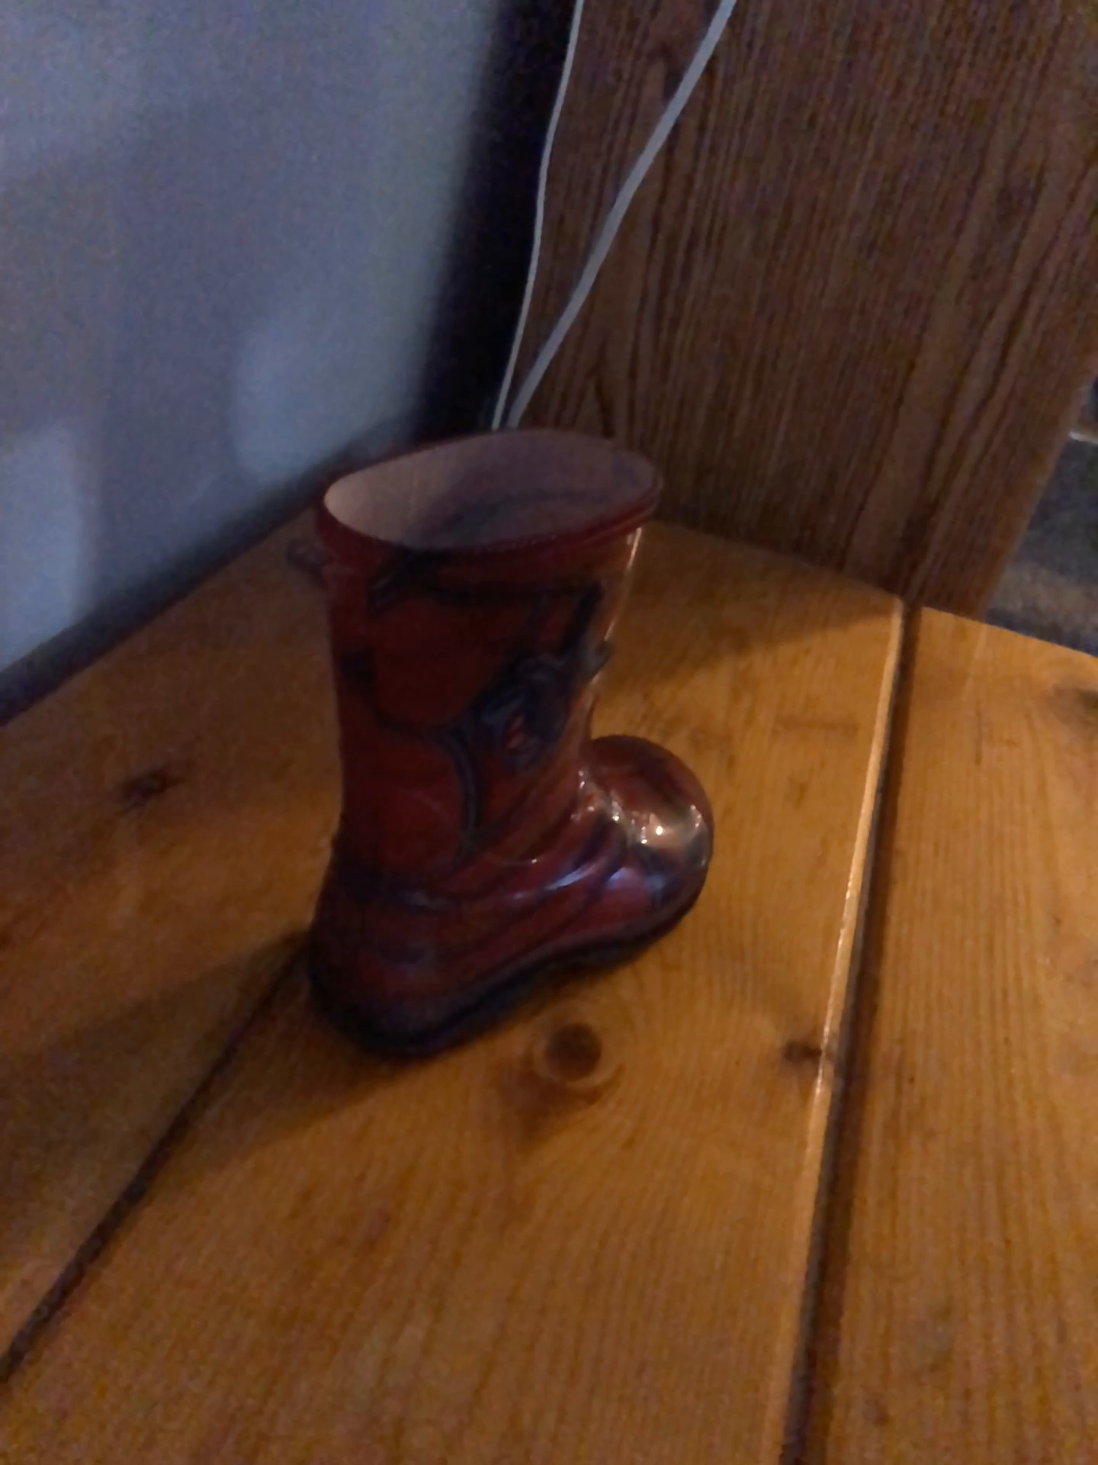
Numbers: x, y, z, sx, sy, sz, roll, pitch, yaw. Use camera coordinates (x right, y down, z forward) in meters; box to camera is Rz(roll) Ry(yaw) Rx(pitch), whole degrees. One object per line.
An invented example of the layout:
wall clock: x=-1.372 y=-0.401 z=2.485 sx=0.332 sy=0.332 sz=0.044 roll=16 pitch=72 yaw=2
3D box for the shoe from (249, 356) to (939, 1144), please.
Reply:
shoe: x=0.011 y=-0.005 z=0.350 sx=0.080 sy=0.169 sz=0.160 roll=34 pitch=37 yaw=28
